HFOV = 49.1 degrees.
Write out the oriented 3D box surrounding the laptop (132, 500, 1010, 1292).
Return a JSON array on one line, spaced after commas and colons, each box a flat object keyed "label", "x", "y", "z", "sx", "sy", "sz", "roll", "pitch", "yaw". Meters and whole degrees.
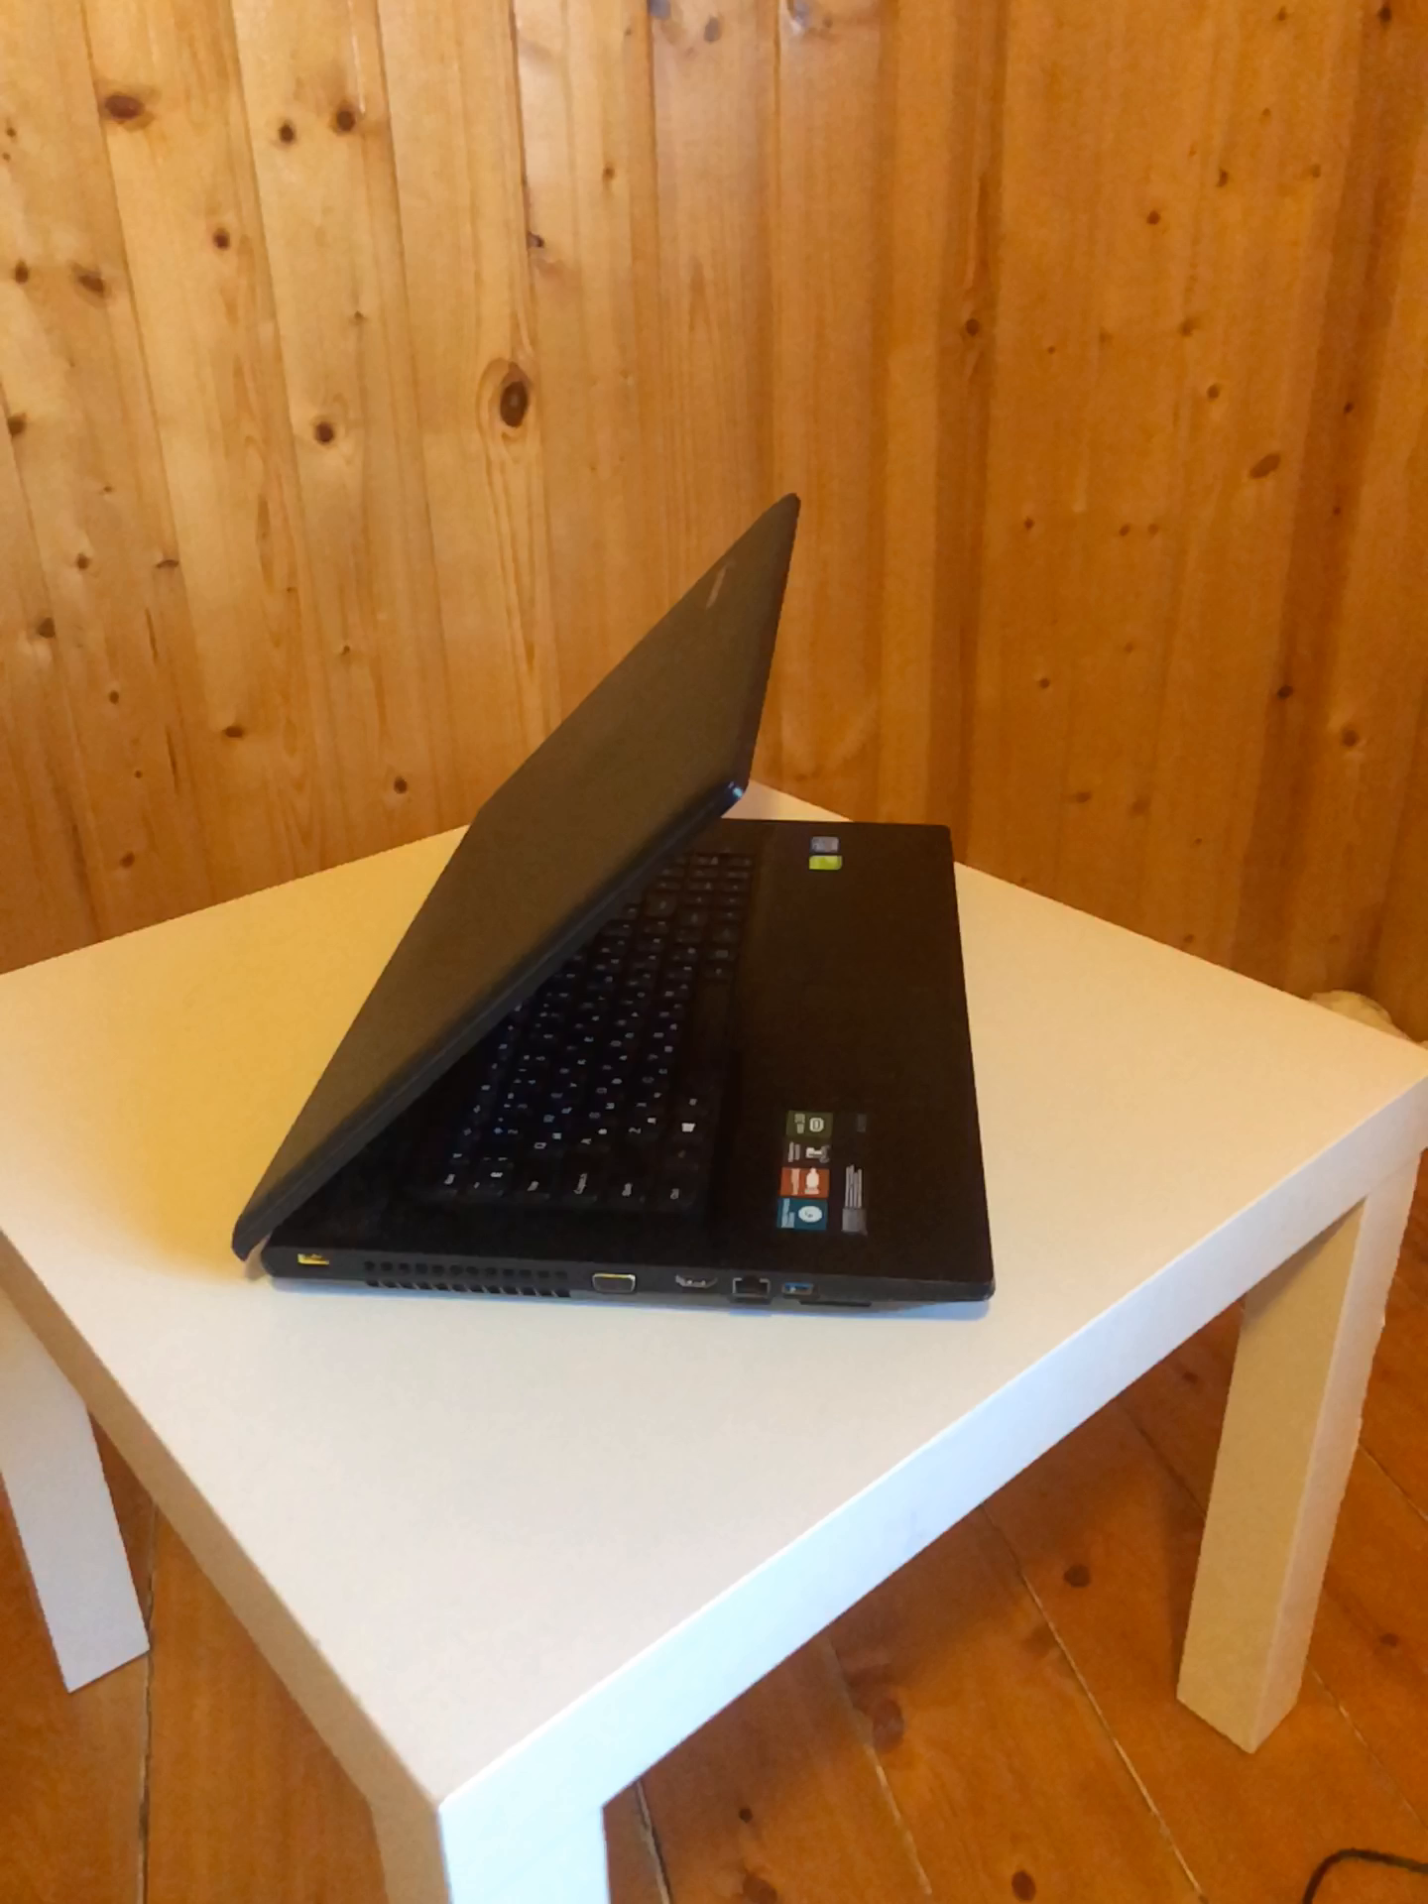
[{"label": "laptop", "x": -0.024, "y": -0.064, "z": 0.700, "sx": 0.271, "sy": 0.184, "sz": 0.413, "roll": 2, "pitch": 28, "yaw": 6}]
